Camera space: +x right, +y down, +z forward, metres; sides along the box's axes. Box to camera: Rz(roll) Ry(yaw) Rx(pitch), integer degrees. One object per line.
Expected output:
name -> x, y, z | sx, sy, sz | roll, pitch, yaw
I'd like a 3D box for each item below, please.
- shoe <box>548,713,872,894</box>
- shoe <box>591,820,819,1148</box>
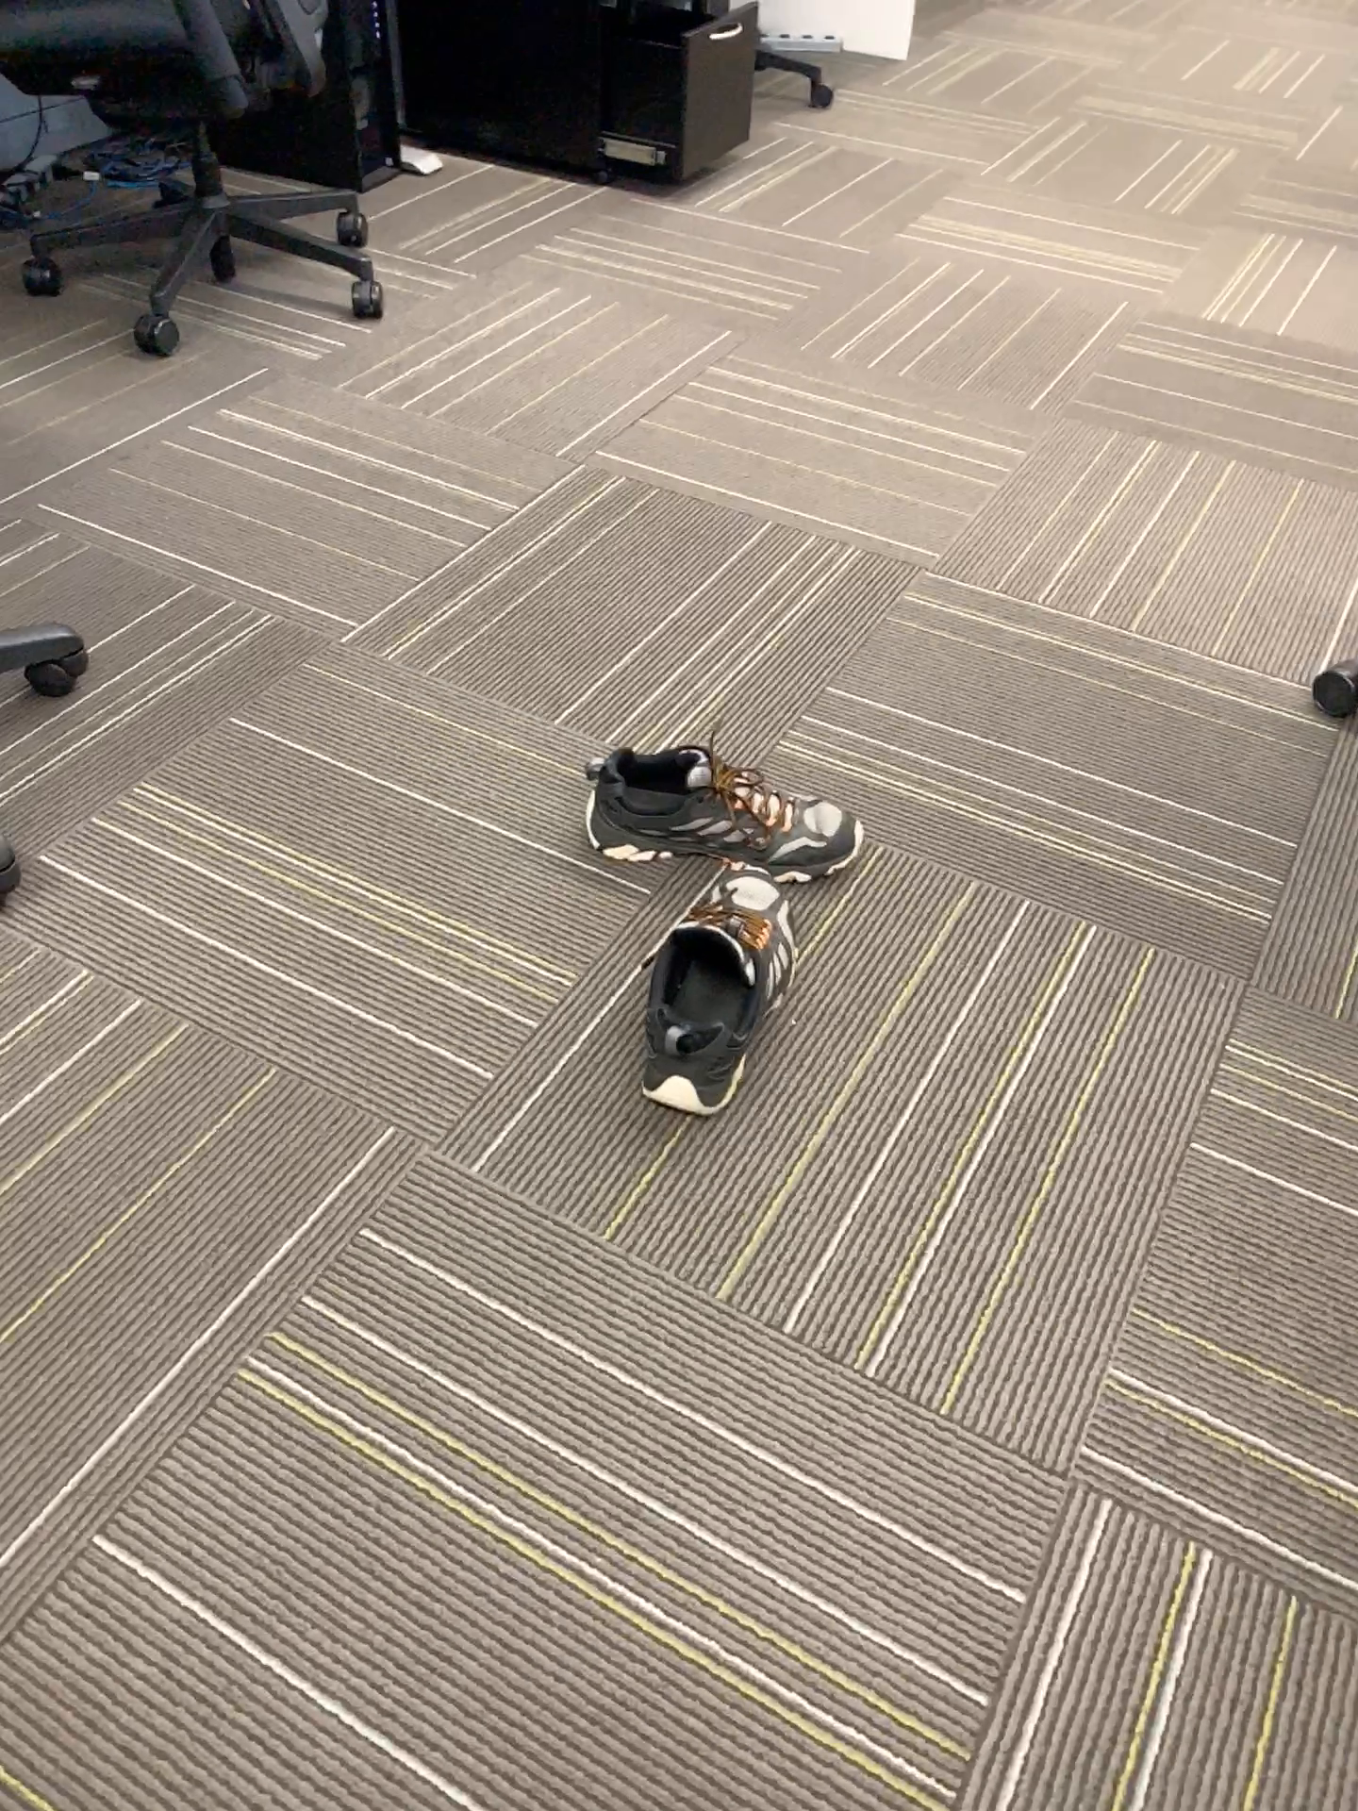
shoe -> 0.038, -0.120, 1.598 | 0.350, 0.089, 0.151 | 8, 45, 5
shoe -> 0.034, 0.070, 1.445 | 0.150, 0.089, 0.352 | 12, 45, 10
